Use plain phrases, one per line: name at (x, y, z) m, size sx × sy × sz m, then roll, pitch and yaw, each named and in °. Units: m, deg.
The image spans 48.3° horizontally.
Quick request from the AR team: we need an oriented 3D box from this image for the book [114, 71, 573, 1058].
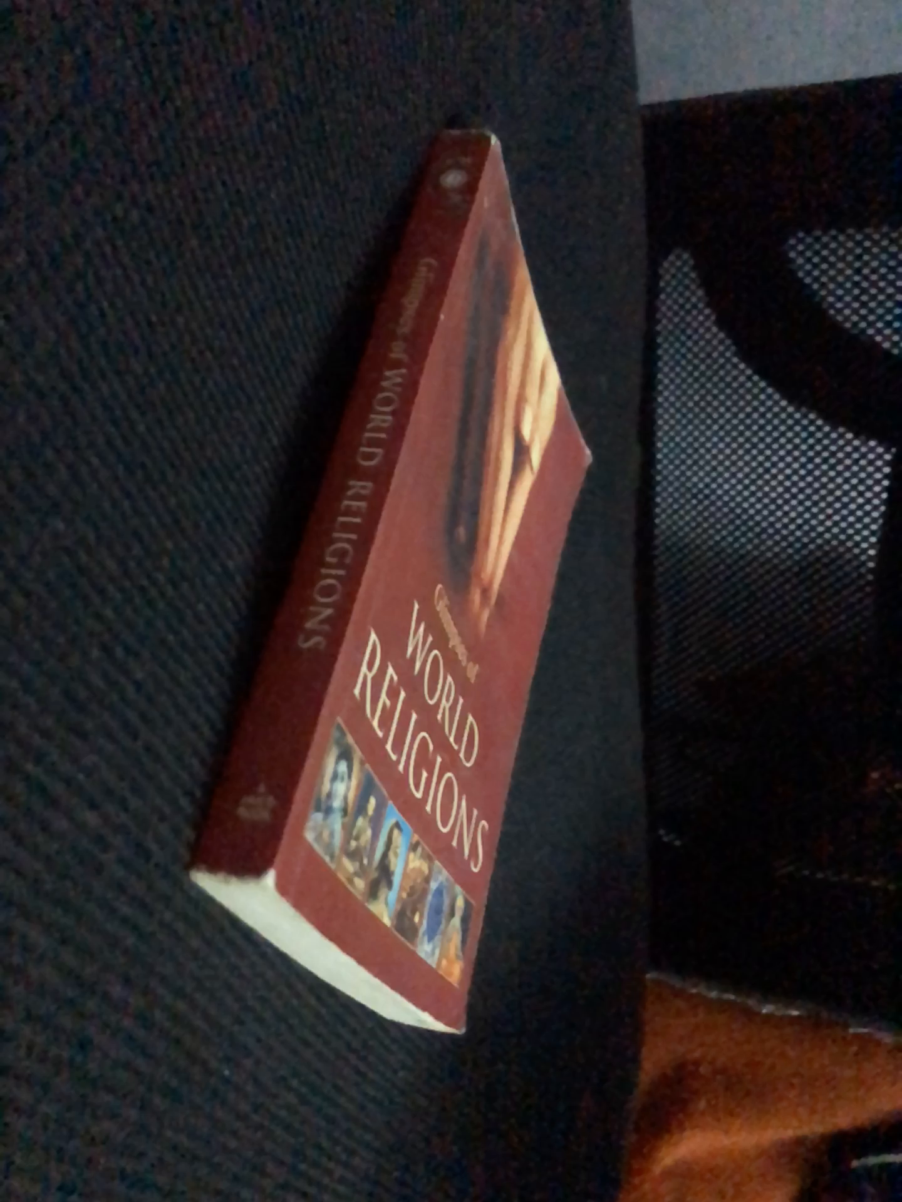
book at (-0.003, -0.006, 0.251) m, size 0.141 × 0.020 × 0.200 m, roll 67°, pitch 31°, yaw -55°
